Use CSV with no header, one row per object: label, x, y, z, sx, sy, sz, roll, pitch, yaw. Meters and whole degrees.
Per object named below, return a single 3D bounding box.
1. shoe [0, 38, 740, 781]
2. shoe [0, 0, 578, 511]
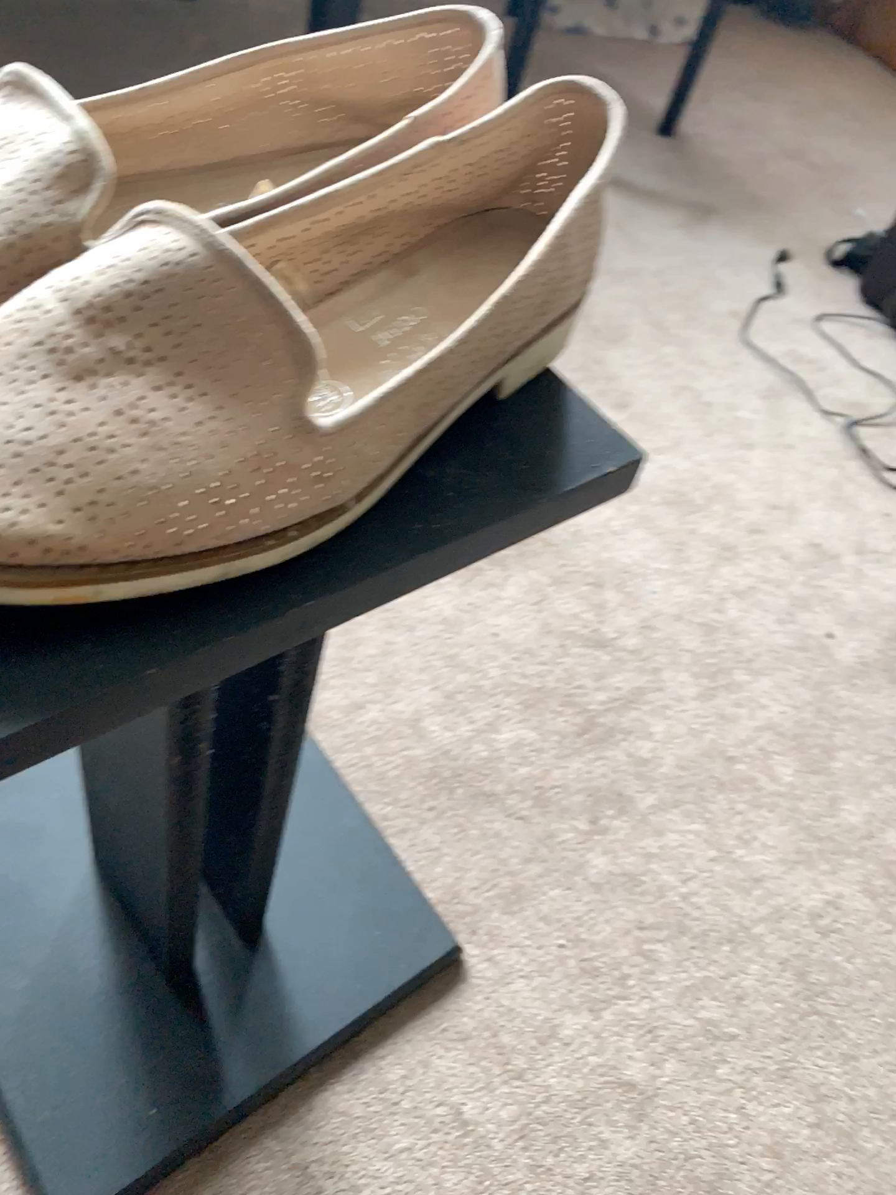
shoe,-0.034,-0.069,0.269,0.251,0.079,0.080,-37,68,-26
shoe,-0.086,-0.128,0.305,0.251,0.079,0.080,-26,62,-24
